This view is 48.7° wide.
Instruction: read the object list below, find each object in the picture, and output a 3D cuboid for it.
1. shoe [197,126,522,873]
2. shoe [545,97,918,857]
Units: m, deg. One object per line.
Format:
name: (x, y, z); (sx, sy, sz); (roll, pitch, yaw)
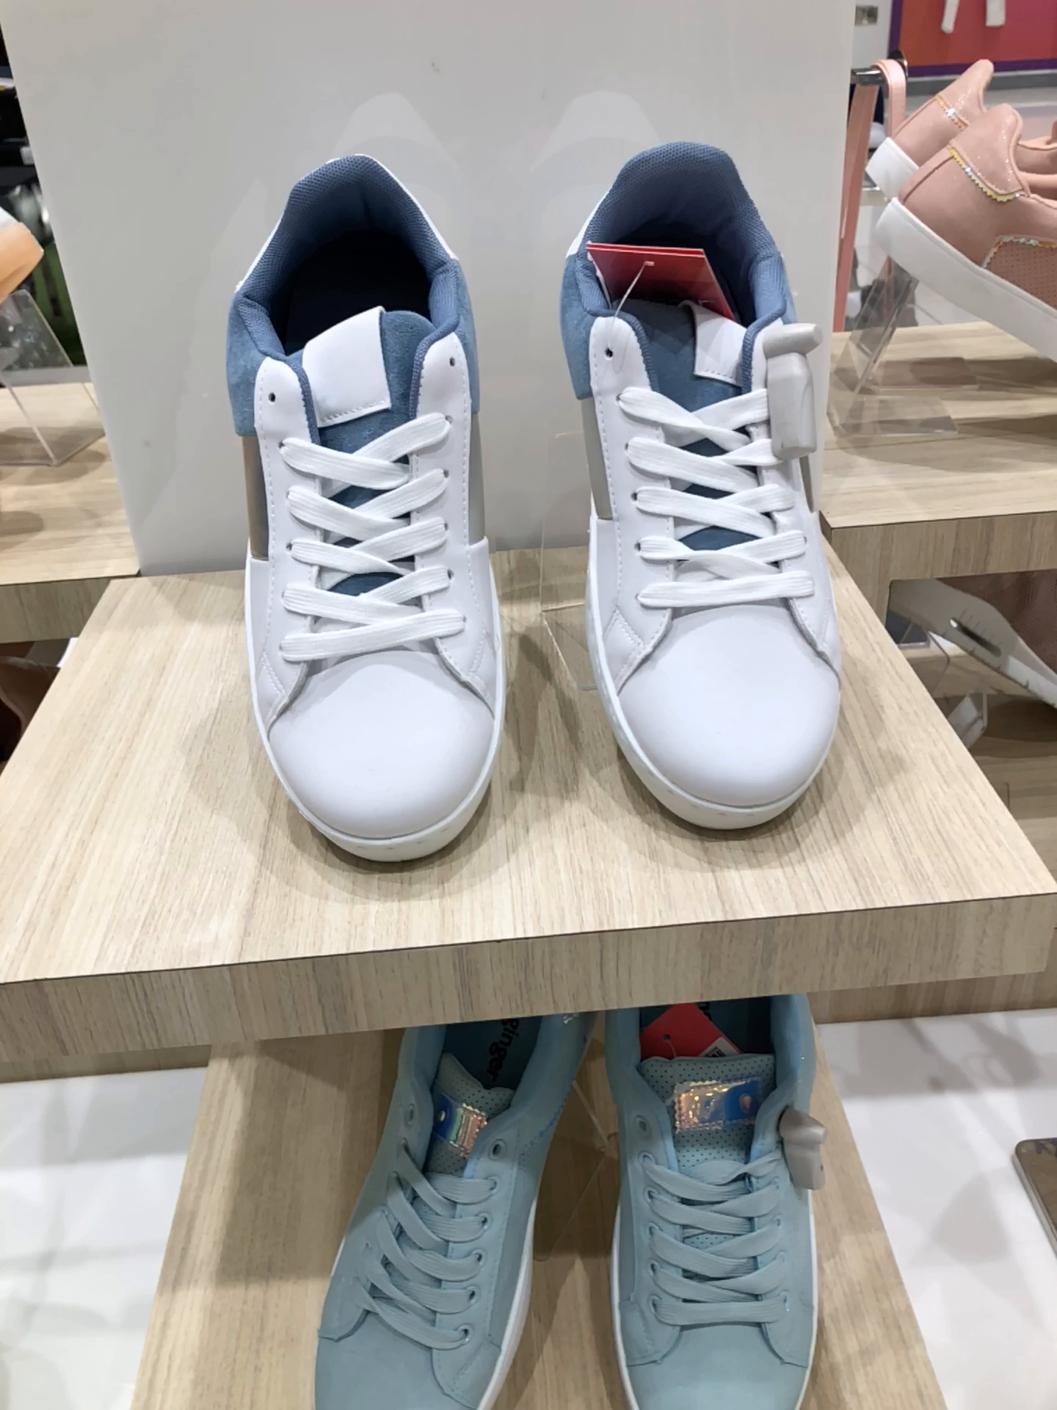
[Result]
shoe: (-0.061, -0.071, 0.445); (0.100, 0.261, 0.090); (-4, -10, -1)
shoe: (0.066, -0.079, 0.438); (0.100, 0.261, 0.090); (-4, -10, -1)
